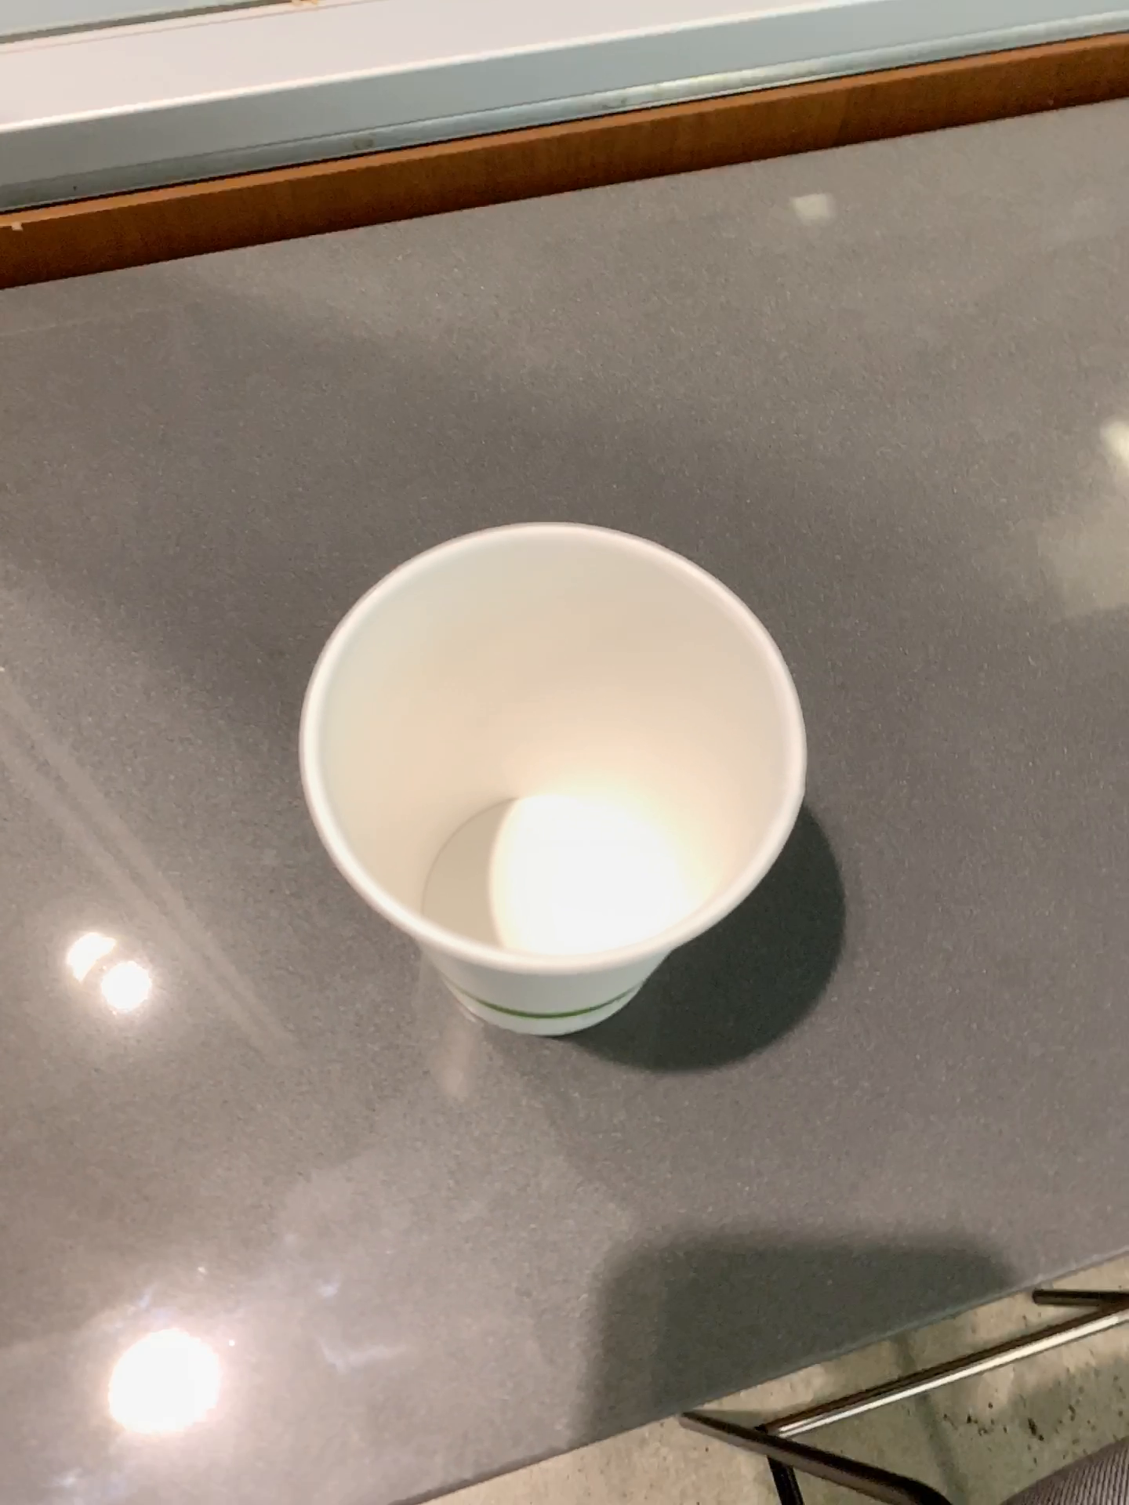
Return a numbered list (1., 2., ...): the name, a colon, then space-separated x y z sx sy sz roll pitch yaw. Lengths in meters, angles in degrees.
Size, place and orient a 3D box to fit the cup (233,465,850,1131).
1. cup: 0.000 0.015 0.235 0.090 0.100 0.090 1 62 -1
